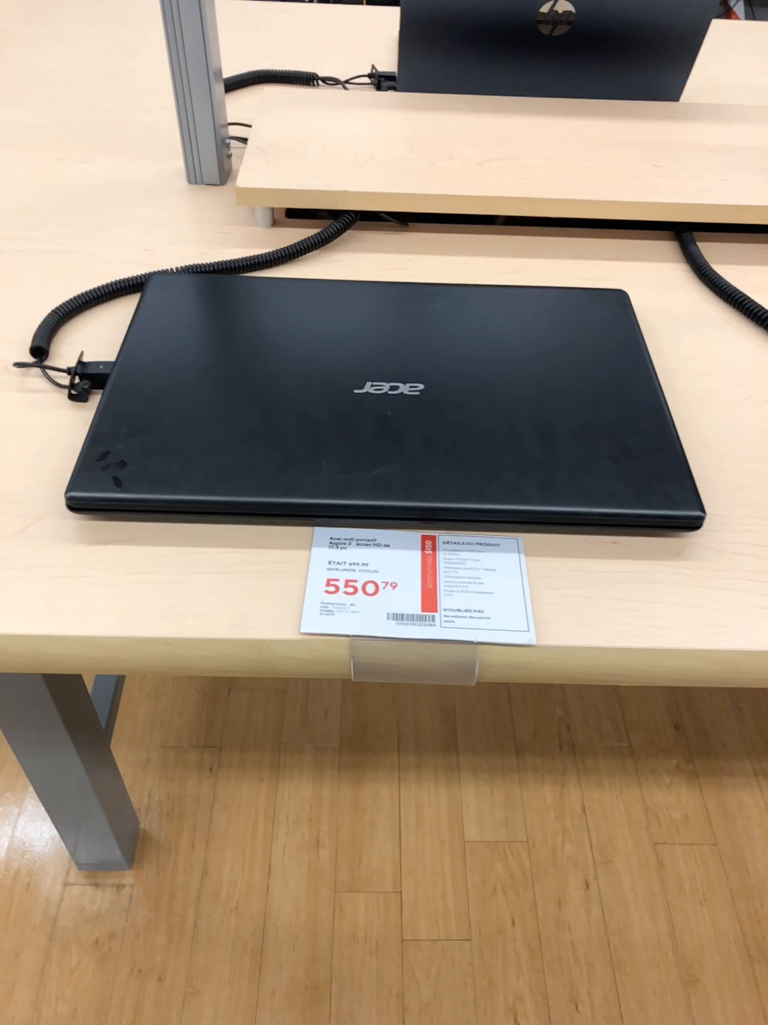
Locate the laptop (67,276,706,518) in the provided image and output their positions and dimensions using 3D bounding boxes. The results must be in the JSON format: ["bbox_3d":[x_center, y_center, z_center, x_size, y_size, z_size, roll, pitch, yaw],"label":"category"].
[{"bbox_3d":[0.002,-0.101,0.643,0.416,0.001,0.268,2,46,-1],"label":"laptop"}]
